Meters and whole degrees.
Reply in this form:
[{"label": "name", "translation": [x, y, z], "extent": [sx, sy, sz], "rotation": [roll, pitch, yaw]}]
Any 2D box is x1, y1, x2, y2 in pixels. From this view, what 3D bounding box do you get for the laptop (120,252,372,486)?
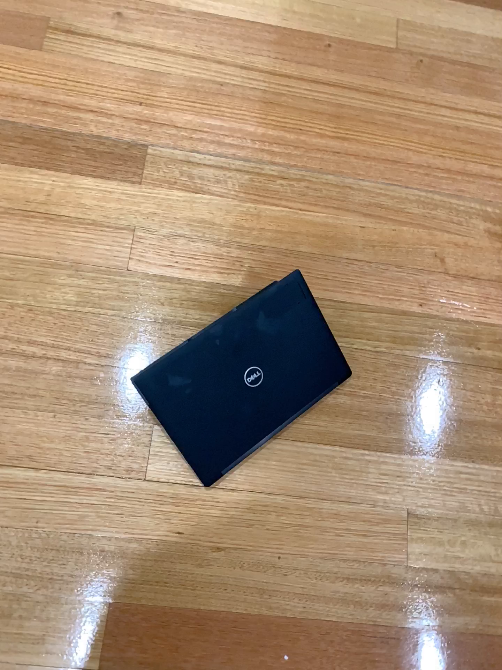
[{"label": "laptop", "translation": [-0.008, 0.053, 0.787], "extent": [0.297, 0.110, 0.206], "rotation": [-34, 83, -14]}]
